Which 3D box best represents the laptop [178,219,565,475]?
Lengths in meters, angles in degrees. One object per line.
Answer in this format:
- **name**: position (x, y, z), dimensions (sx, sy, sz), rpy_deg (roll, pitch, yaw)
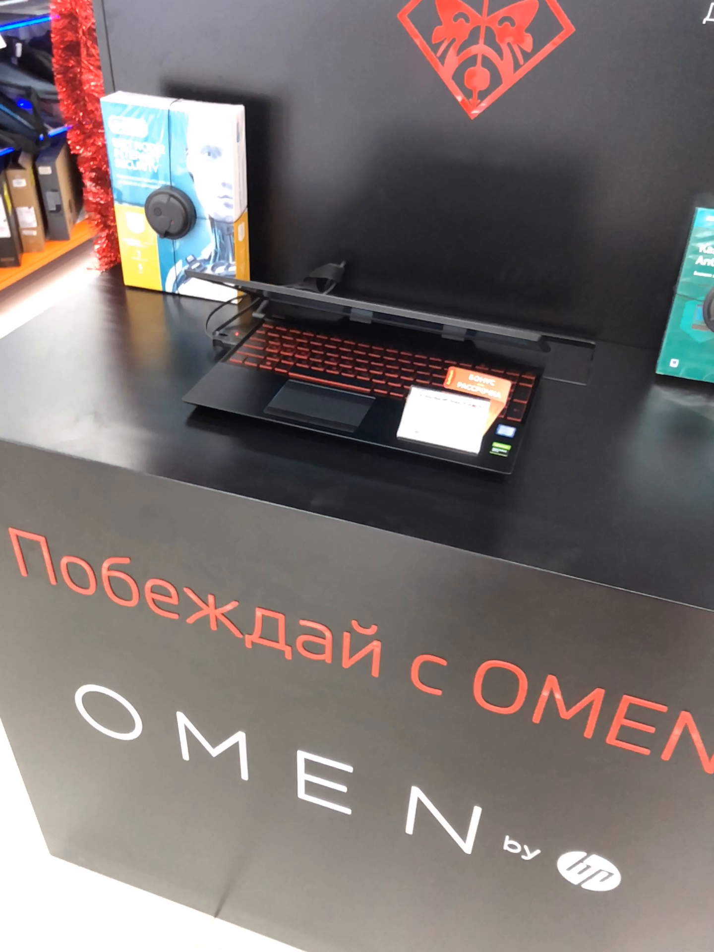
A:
- **laptop**: position (0.021, -0.157, 0.853), dimensions (0.350, 0.121, 0.232), rpy_deg (14, 39, 17)
